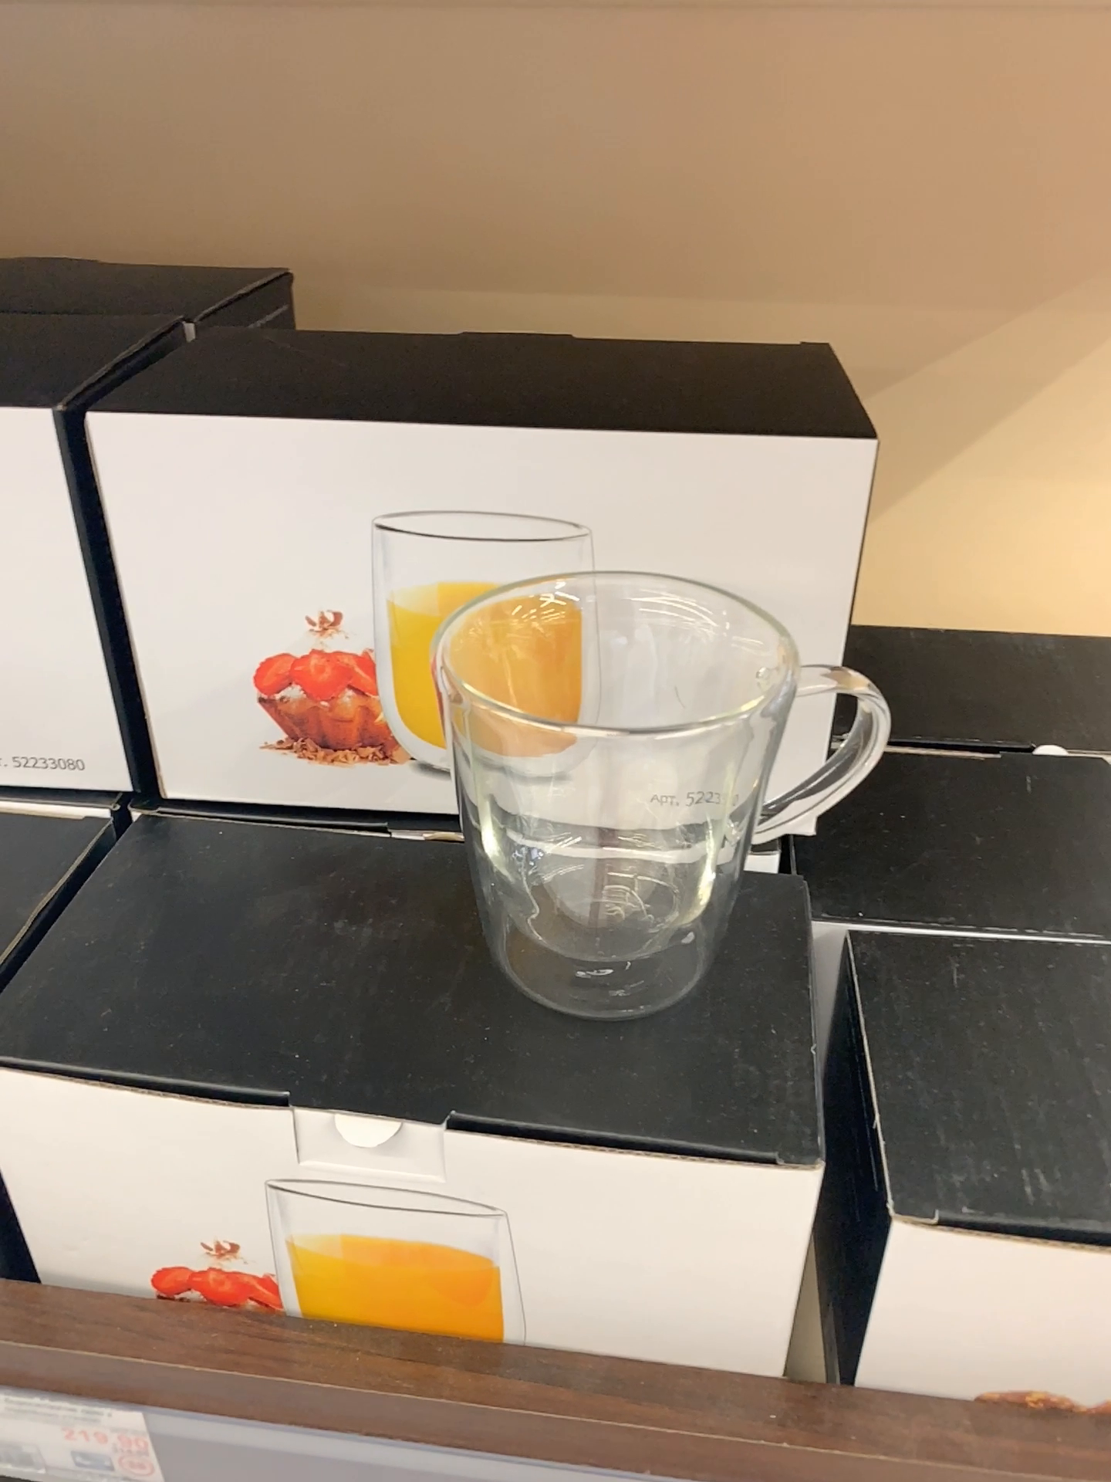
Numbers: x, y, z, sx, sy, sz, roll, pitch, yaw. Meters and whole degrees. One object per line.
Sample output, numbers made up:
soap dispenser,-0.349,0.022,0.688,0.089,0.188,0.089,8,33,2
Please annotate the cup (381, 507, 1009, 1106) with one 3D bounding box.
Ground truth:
cup,0.027,0.009,0.262,0.110,0.090,0.070,-14,35,-22
